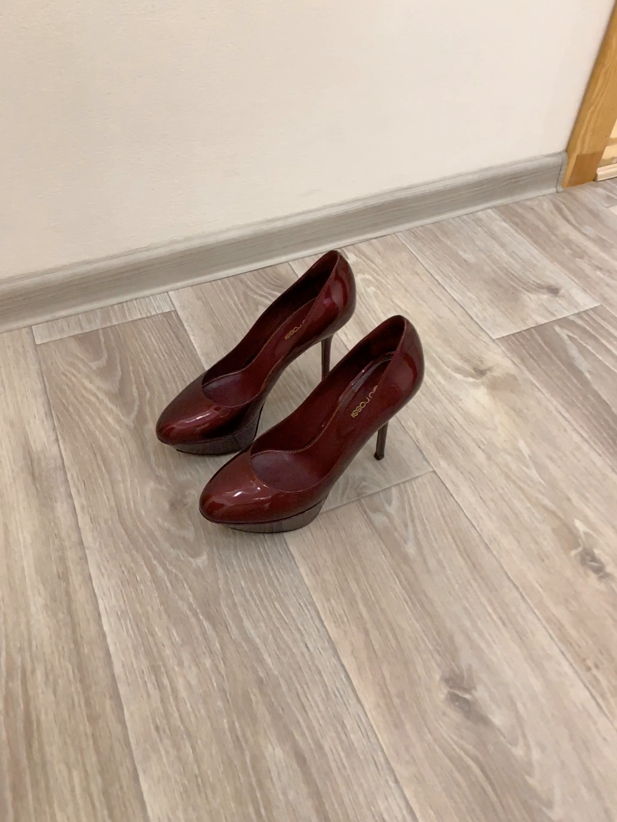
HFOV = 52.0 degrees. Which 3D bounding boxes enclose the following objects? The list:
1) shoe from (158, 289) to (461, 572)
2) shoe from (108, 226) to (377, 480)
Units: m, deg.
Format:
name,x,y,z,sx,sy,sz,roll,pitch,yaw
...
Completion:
name,x,y,z,sx,sy,sz,roll,pitch,yaw
shoe,0.002,0.014,0.522,0.210,0.149,0.087,-24,53,-22
shoe,-0.054,-0.056,0.586,0.210,0.149,0.087,-26,54,-23
